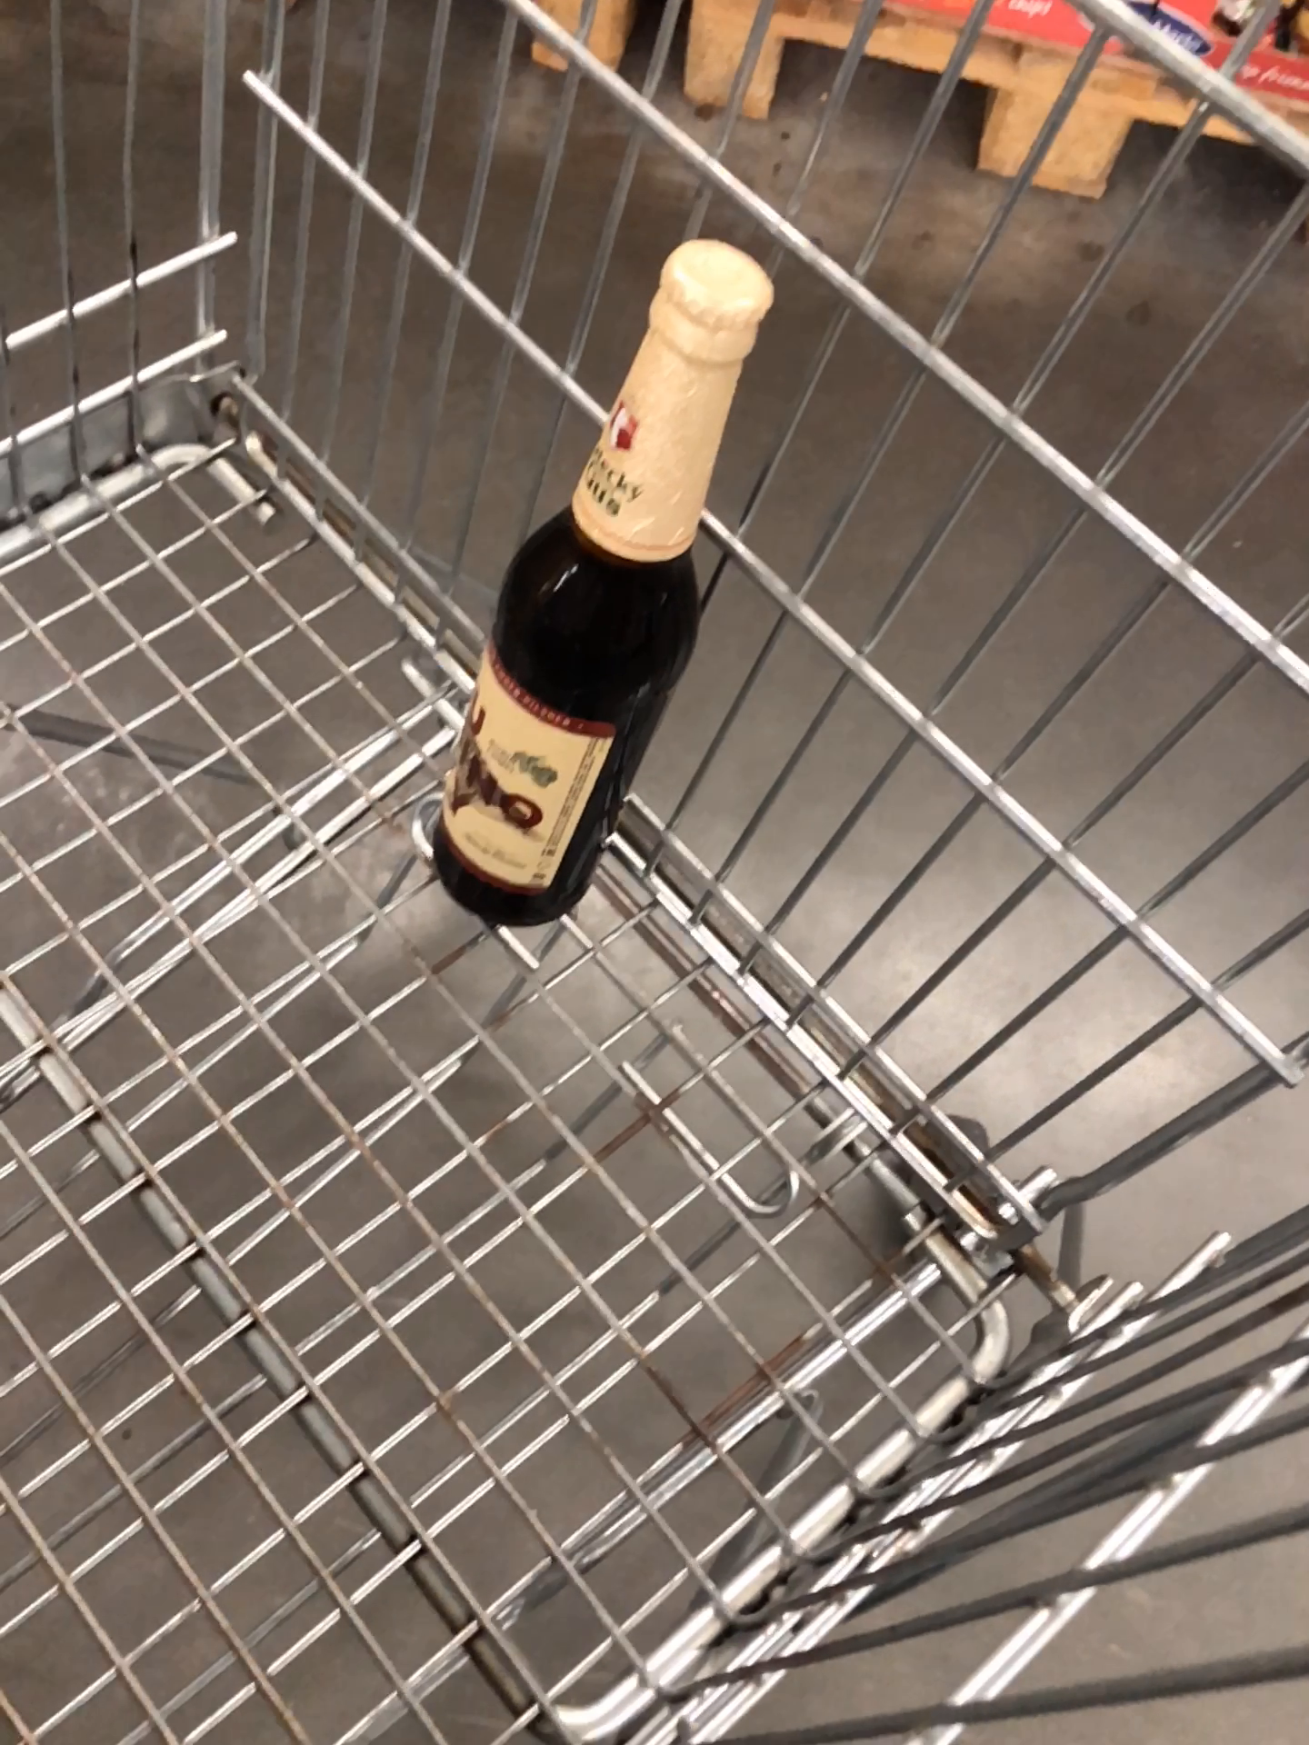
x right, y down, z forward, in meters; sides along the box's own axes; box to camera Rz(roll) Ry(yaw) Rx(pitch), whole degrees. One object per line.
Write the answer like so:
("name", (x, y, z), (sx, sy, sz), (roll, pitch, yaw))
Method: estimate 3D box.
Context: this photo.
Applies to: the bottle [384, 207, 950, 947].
("bottle", (-0.013, -0.079, 0.465), (0.080, 0.239, 0.080), (12, 52, -16))
